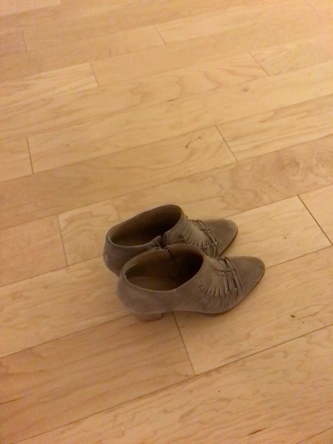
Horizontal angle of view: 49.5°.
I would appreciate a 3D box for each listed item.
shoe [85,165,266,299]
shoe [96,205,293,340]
[{"bbox_3d":[0.016,0.017,0.626,0.270,0.119,0.100,-19,57,-10],"label":"shoe"},{"bbox_3d":[0.039,0.084,0.587,0.270,0.129,0.111,-13,56,-6],"label":"shoe"}]
